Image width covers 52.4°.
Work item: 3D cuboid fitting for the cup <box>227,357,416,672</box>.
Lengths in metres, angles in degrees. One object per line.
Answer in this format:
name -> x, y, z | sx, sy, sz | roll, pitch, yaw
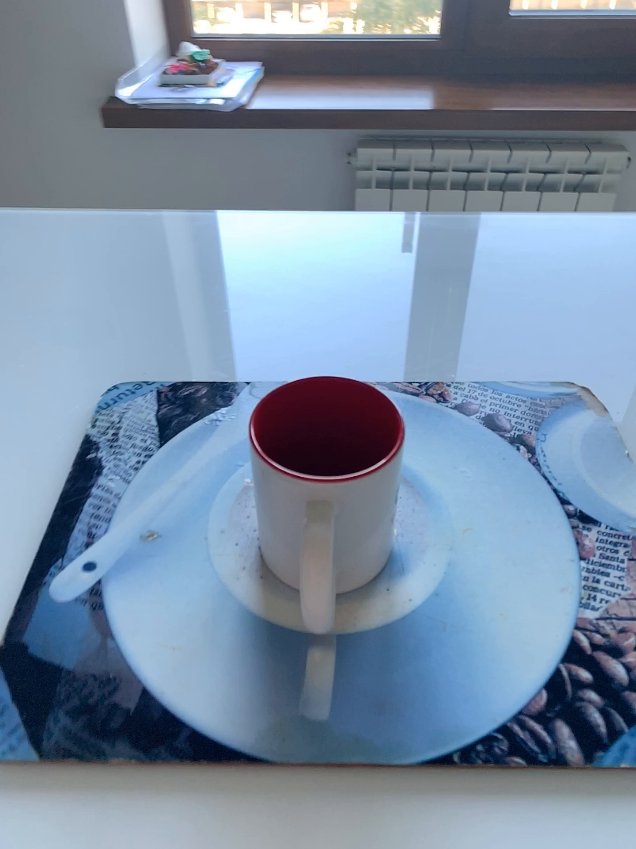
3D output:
cup -> 0.005, 0.046, 0.345 | 0.077, 0.115, 0.117 | 2, 42, 3
